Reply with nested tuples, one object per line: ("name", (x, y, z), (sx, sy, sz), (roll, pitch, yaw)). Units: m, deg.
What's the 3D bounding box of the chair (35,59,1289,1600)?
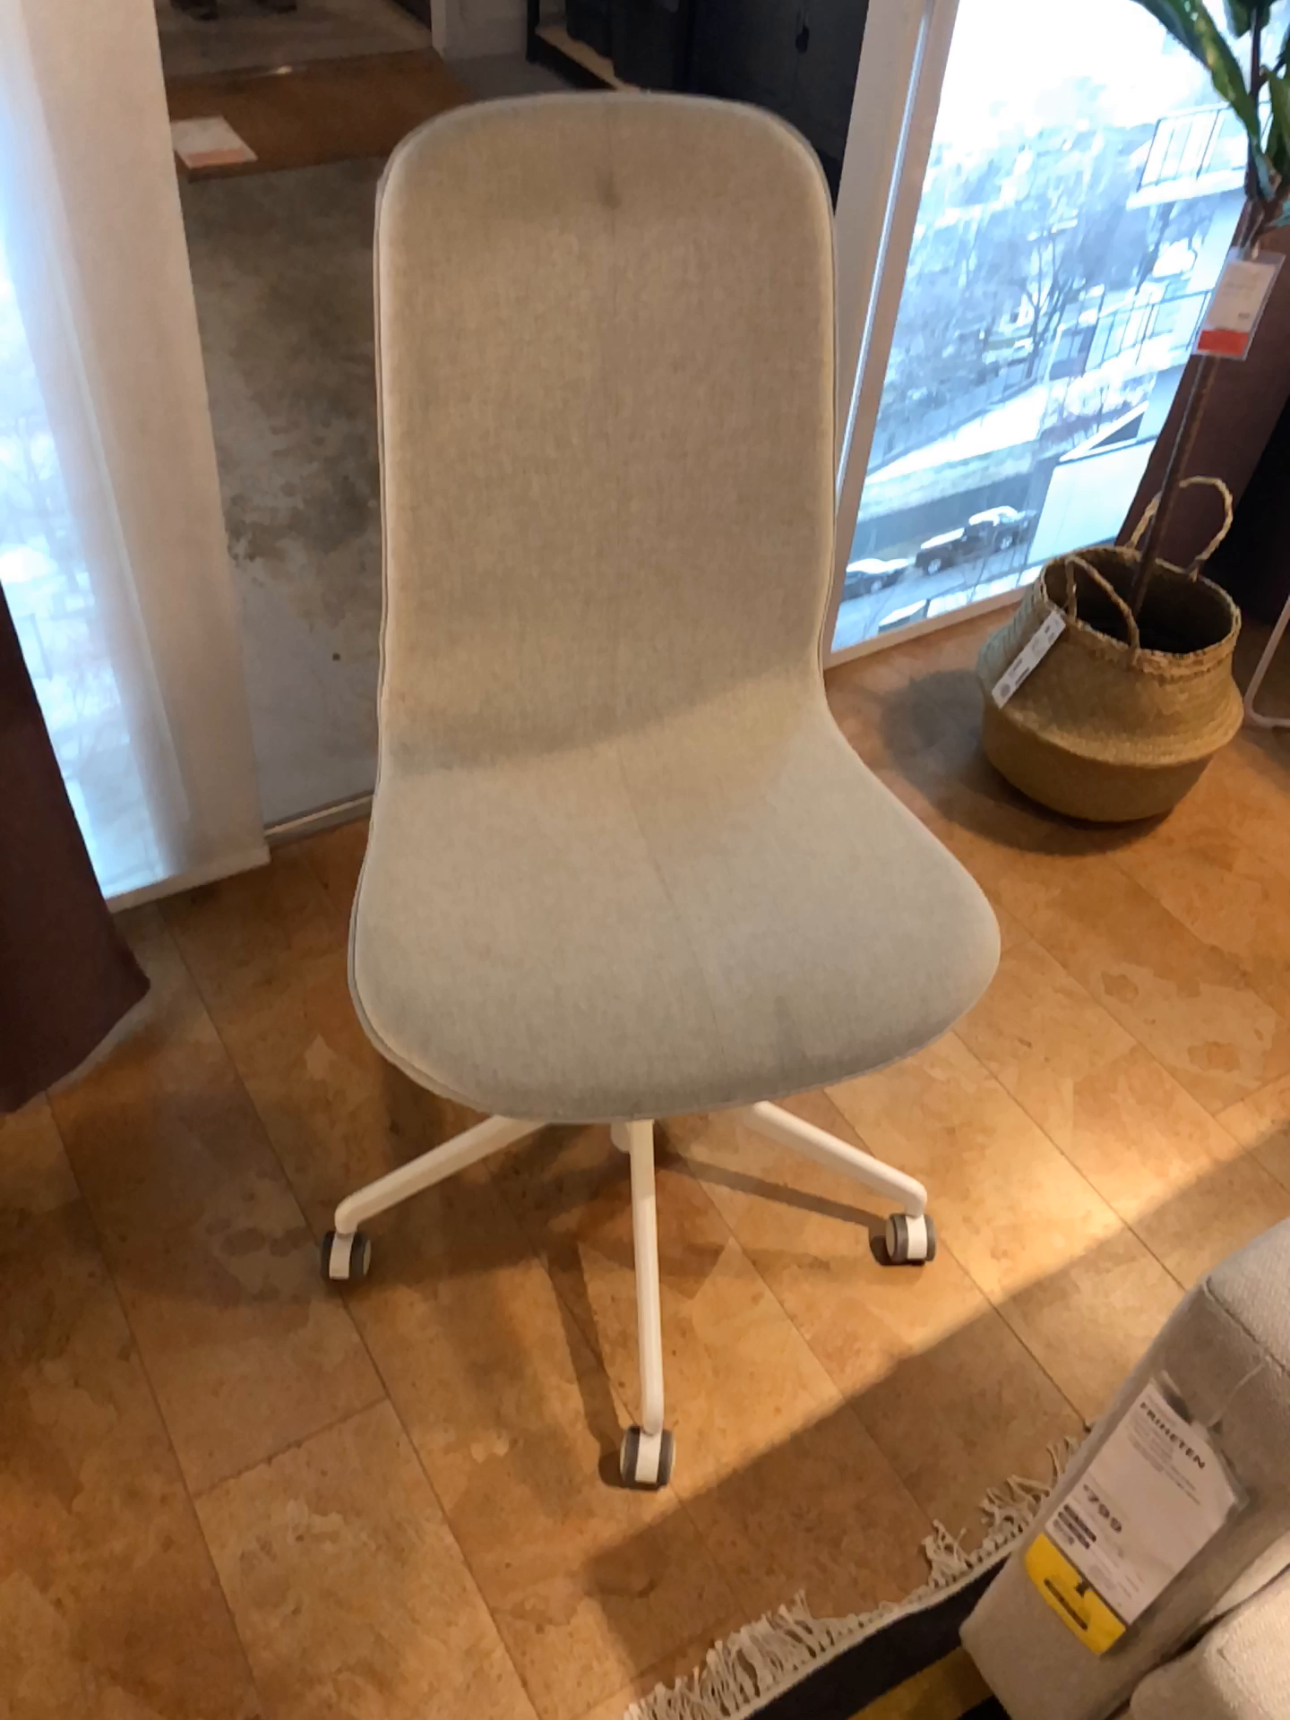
("chair", (-0.014, -0.017, 1.164), (0.670, 0.936, 0.692), (-12, 48, -16))
